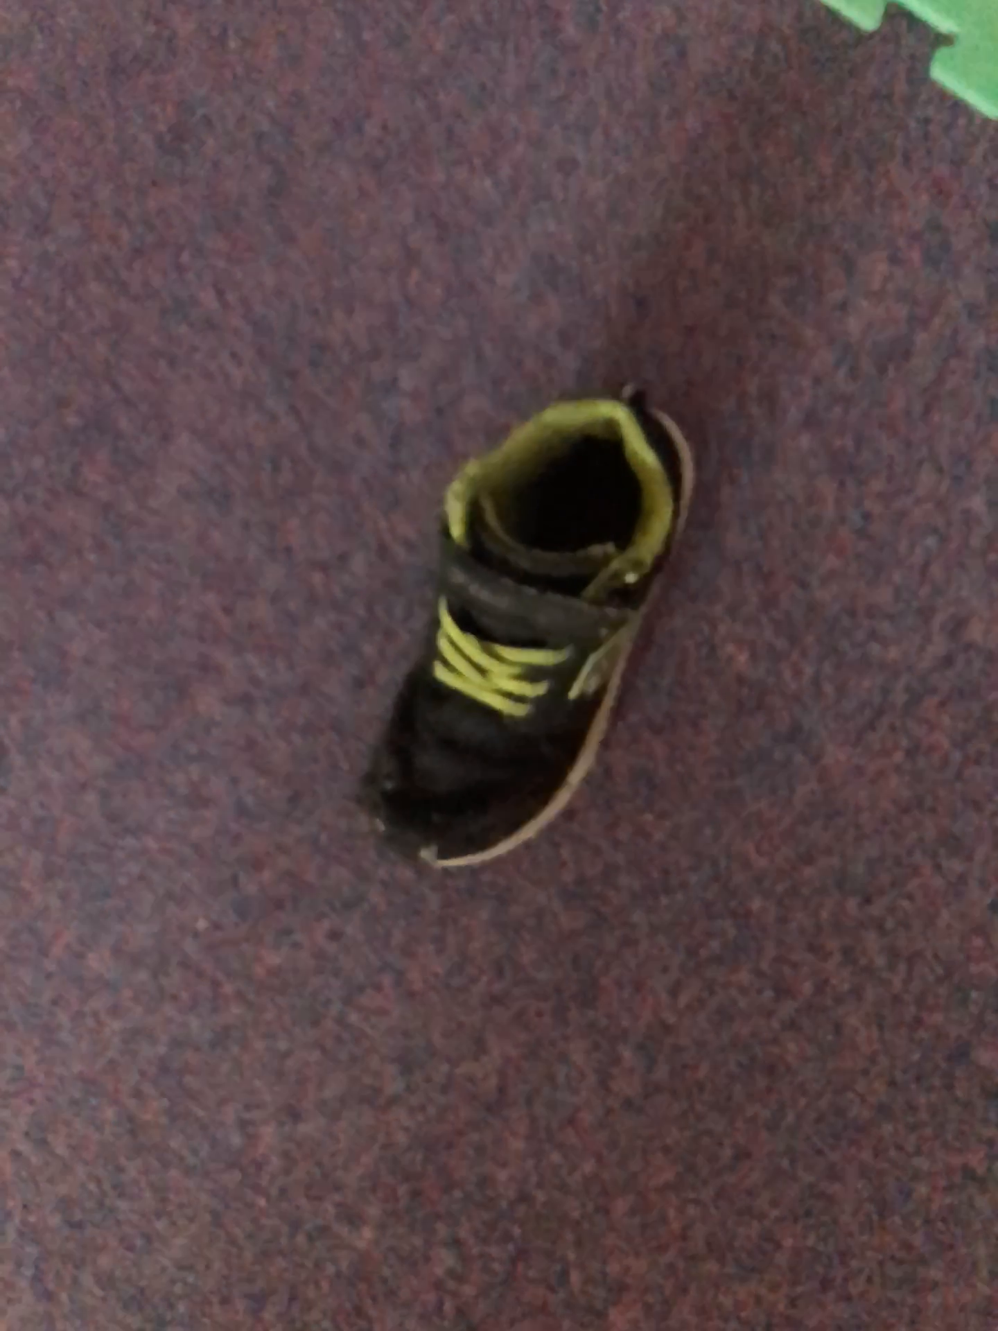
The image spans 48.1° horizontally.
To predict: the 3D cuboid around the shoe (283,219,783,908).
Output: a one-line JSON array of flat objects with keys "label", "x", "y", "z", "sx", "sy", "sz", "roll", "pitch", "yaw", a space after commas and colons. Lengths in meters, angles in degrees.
[{"label": "shoe", "x": 0.018, "y": -0.034, "z": 0.431, "sx": 0.090, "sy": 0.100, "sz": 0.220, "roll": 24, "pitch": 89, "yaw": 10}]
